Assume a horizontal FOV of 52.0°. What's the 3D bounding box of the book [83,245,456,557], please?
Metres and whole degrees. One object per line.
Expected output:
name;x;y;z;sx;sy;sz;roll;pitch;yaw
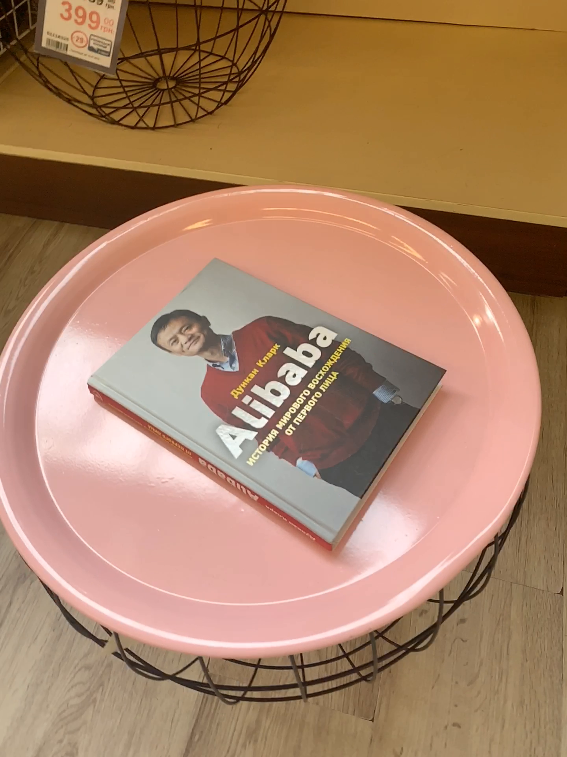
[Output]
book;-0.012;-0.001;0.477;0.240;0.026;0.180;30;63;21
